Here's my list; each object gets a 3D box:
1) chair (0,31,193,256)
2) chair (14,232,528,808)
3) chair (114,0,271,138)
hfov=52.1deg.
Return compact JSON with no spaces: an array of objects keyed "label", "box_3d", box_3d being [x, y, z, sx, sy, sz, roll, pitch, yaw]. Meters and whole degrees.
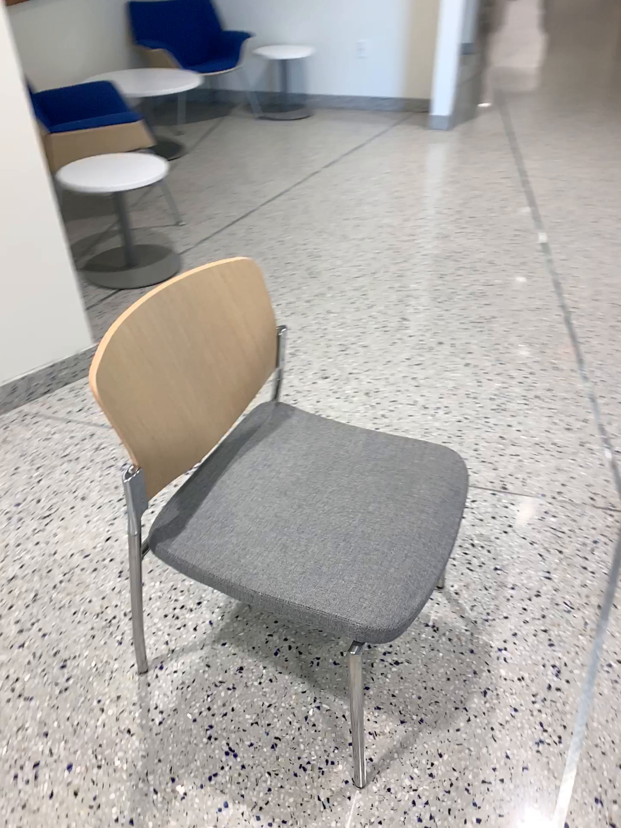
[{"label":"chair","box_3d":[-1.088,-1.343,3.085,0.762,0.758,0.773,-15,40,-17]},{"label":"chair","box_3d":[-0.022,0.173,1.199,0.592,0.768,0.541,17,42,22]},{"label":"chair","box_3d":[-0.845,-2.577,4.635,0.749,0.768,0.816,-24,44,-26]}]
